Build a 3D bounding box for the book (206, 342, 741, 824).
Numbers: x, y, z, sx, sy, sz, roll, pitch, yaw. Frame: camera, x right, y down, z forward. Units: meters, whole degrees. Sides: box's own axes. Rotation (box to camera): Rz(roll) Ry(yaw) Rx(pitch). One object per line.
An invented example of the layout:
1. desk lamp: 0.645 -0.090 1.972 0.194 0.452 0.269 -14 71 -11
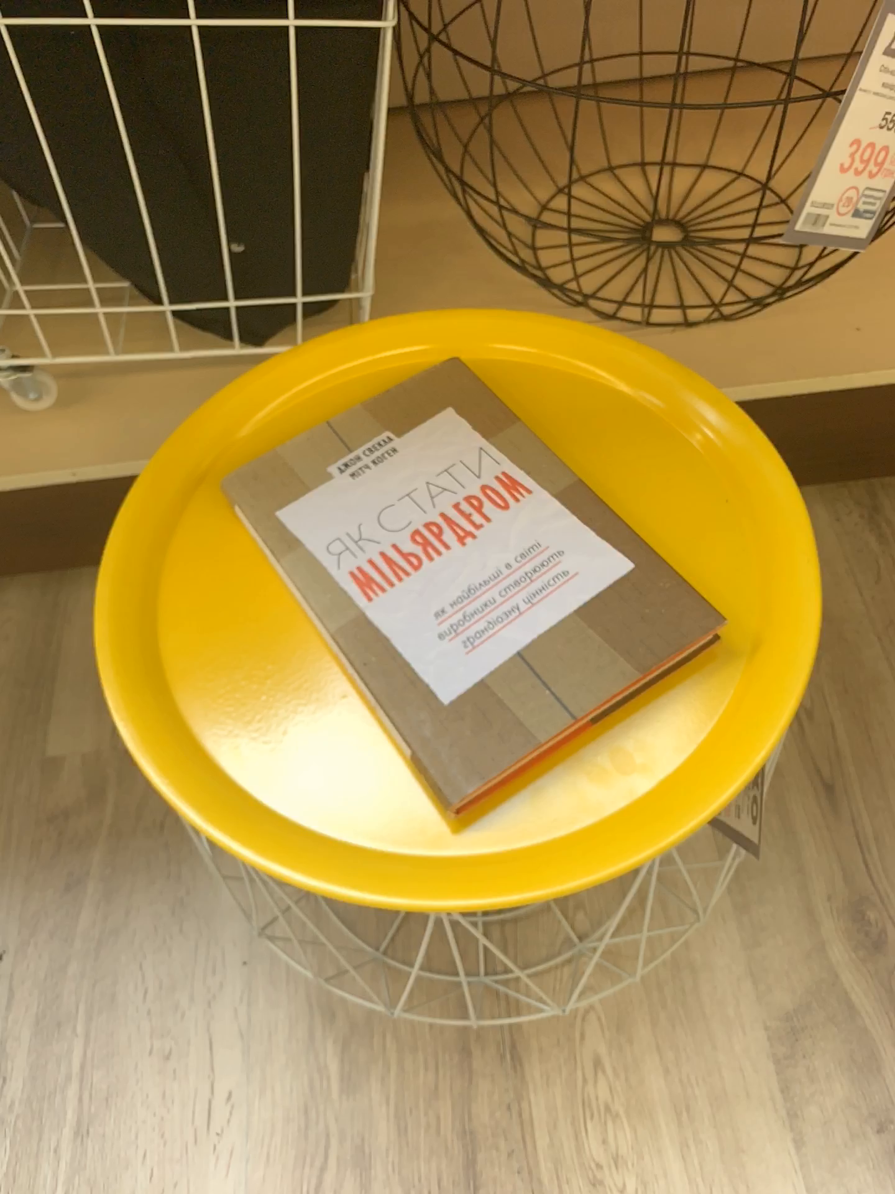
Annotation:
1. book: 0.004 -0.026 0.485 0.170 0.020 0.236 -32 60 -15
